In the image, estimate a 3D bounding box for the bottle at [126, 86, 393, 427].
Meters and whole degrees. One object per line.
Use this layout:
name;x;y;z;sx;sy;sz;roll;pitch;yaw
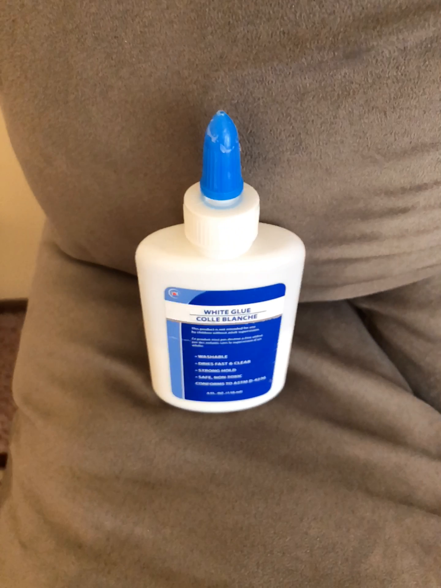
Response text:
bottle;0.008;-0.005;0.188;0.070;0.130;0.040;-1;42;-3
